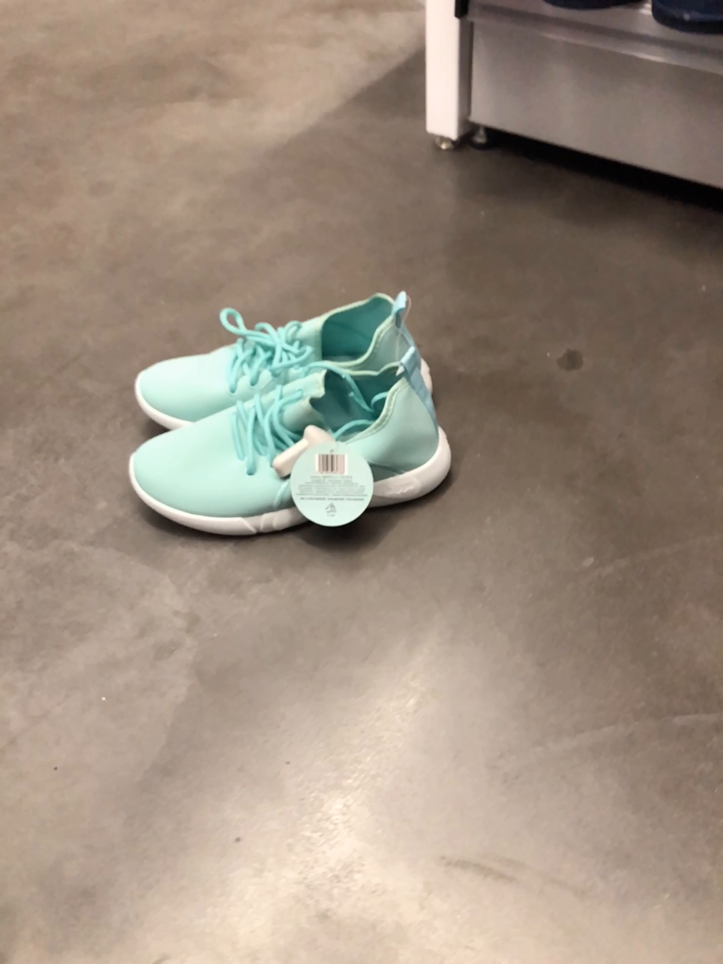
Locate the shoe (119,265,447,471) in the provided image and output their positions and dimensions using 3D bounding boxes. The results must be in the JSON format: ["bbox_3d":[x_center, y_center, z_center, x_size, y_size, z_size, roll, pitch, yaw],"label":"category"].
[{"bbox_3d":[-0.055,-0.089,0.629,0.230,0.100,0.101,-5,49,1],"label":"shoe"}]

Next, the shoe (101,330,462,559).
[{"bbox_3d":[-0.051,-0.027,0.578,0.230,0.100,0.100,-6,49,-1],"label":"shoe"}]
